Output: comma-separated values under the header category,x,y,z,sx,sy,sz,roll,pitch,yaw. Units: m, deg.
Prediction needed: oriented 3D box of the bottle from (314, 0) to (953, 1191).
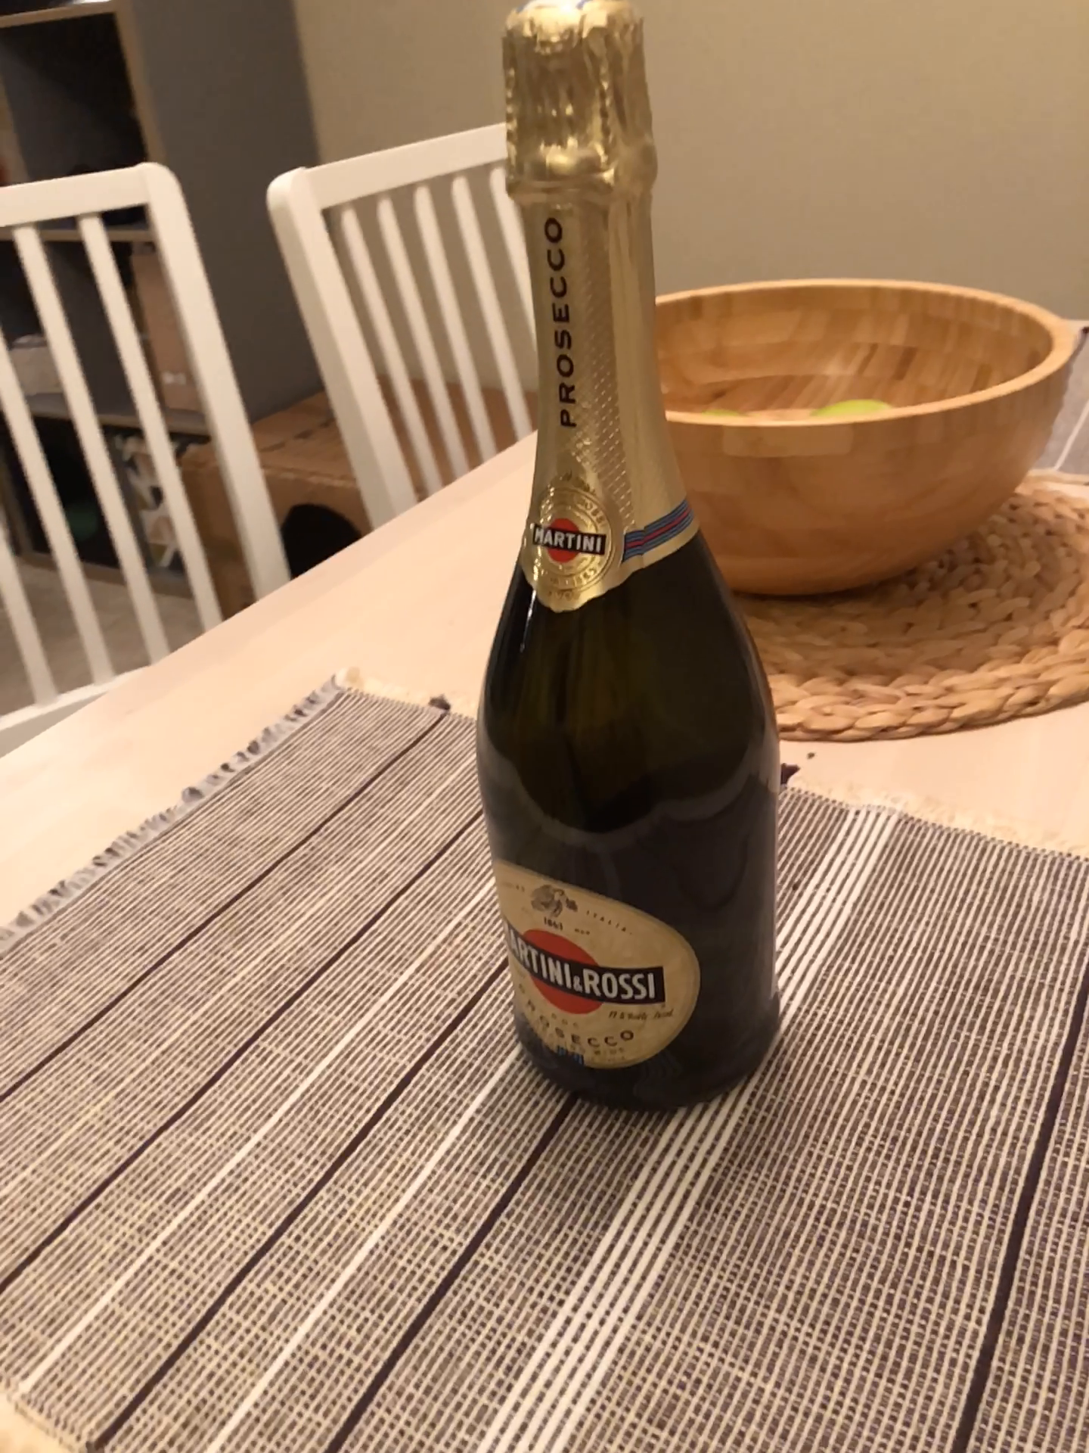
category,x,y,z,sx,sy,sz,roll,pitch,yaw
bottle,0.033,-0.030,0.340,0.100,0.308,0.100,-4,30,2
